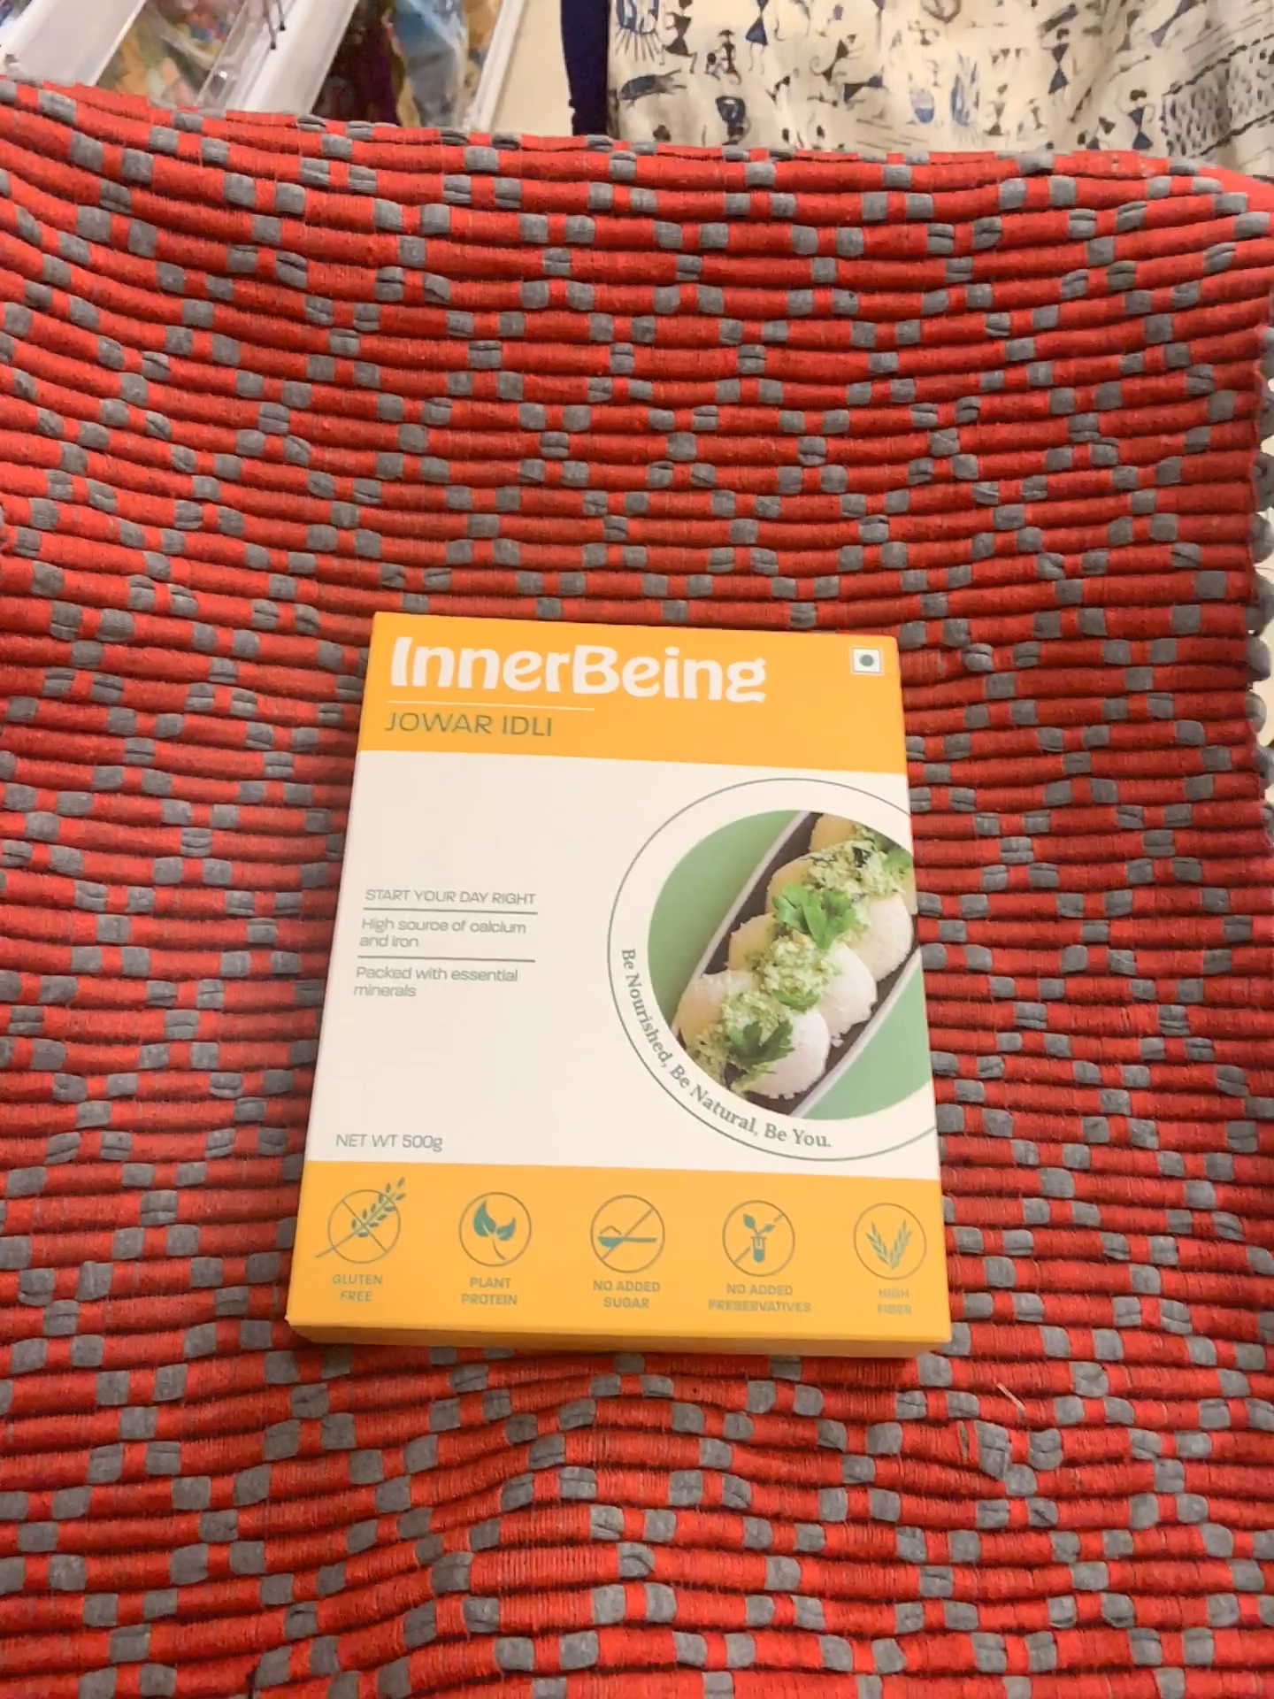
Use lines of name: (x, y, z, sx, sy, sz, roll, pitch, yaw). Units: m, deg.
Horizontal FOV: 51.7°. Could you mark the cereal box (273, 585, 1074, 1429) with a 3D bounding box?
cereal box: (0.003, 0.033, 0.323, 0.150, 0.070, 0.190, 1, 59, -5)
